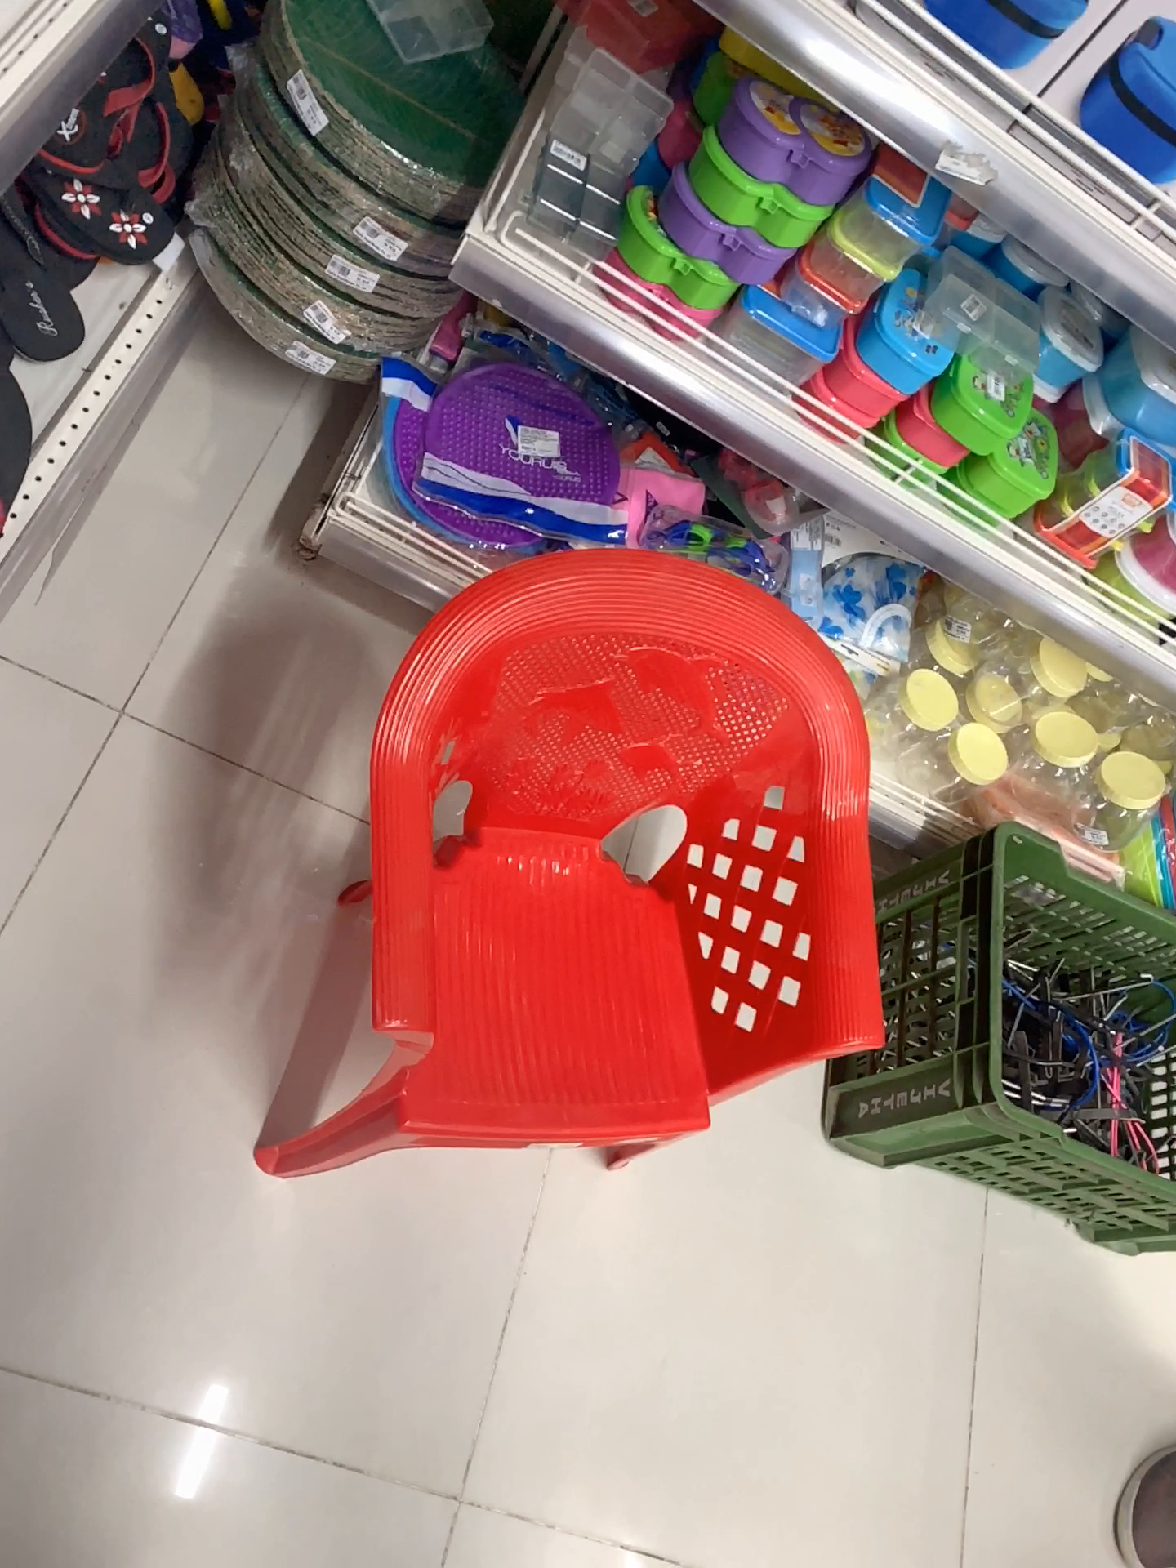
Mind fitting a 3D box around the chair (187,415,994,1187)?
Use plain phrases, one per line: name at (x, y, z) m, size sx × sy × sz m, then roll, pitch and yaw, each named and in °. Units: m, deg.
chair at (-0.037, 0.081, 1.077) m, size 0.501 × 0.479 × 0.490 m, roll 9°, pitch 64°, yaw -25°
